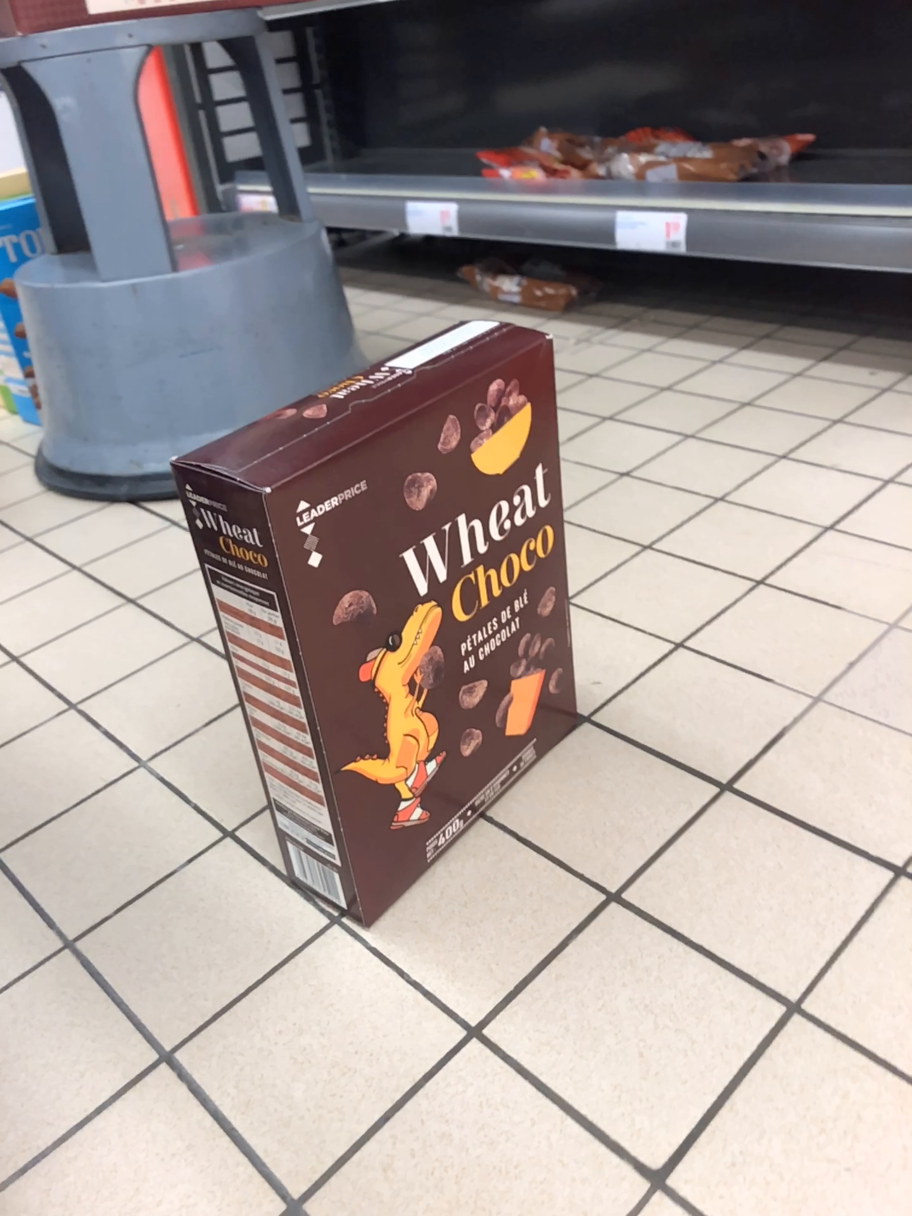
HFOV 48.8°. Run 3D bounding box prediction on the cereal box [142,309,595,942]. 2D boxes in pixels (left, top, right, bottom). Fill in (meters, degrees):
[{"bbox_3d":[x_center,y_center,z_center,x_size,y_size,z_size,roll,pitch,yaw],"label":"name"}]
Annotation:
[{"bbox_3d":[-0.021,0.003,0.514,0.070,0.249,0.201,18,40,37],"label":"cereal box"}]
